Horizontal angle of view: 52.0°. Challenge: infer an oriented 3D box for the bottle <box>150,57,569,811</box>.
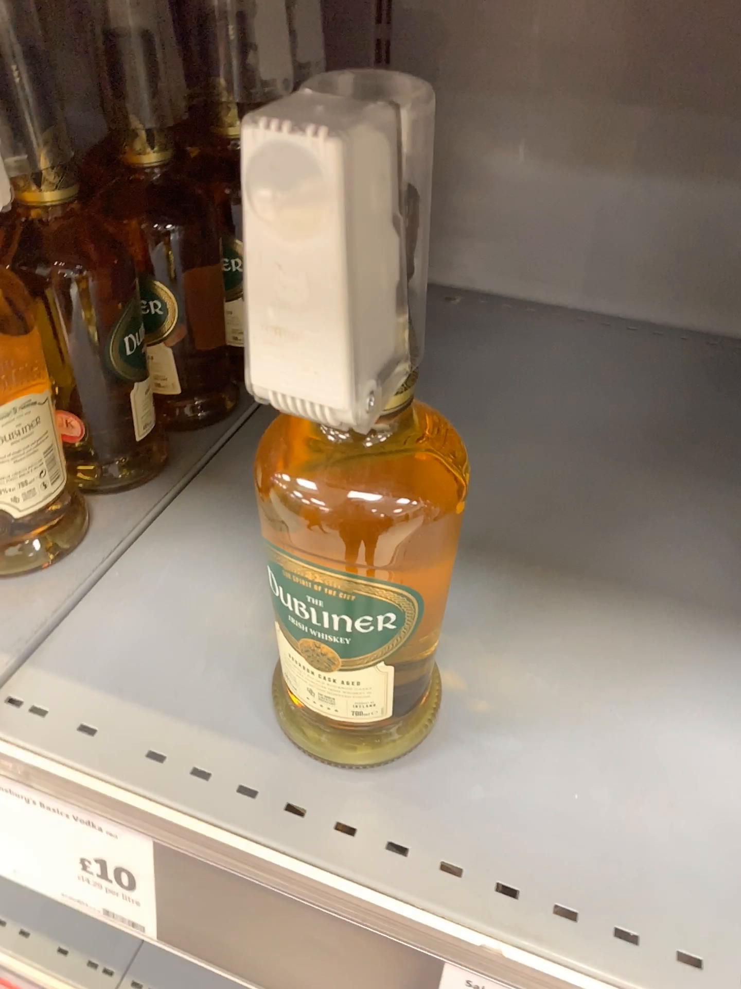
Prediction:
[{"bbox_3d":[-0.002,-0.005,0.309,0.089,0.283,0.091,1,38,-1],"label":"bottle"}]
